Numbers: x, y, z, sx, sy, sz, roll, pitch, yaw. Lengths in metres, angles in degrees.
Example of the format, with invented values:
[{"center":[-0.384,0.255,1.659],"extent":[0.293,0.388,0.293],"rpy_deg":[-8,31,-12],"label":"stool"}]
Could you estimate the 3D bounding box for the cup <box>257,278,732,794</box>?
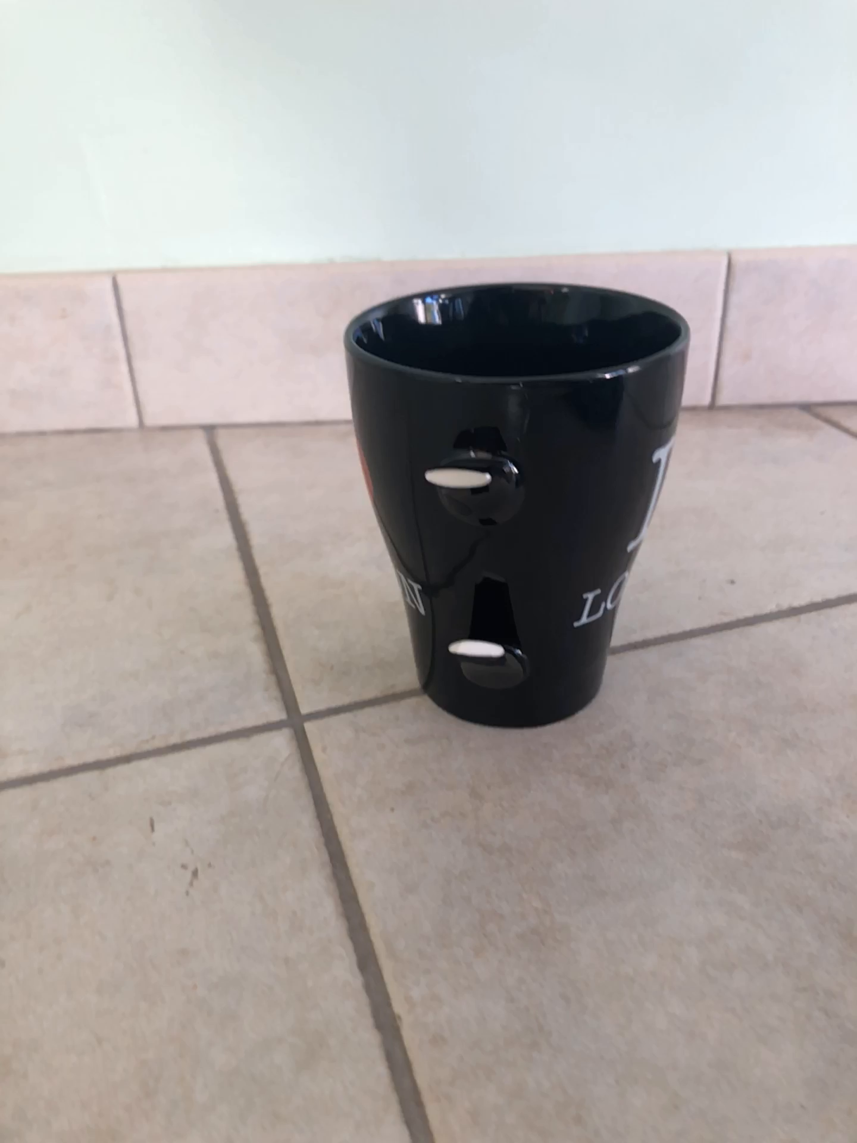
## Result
[{"center":[0.020,-0.017,0.268],"extent":[0.097,0.103,0.108],"rpy_deg":[2,30,7],"label":"cup"}]
